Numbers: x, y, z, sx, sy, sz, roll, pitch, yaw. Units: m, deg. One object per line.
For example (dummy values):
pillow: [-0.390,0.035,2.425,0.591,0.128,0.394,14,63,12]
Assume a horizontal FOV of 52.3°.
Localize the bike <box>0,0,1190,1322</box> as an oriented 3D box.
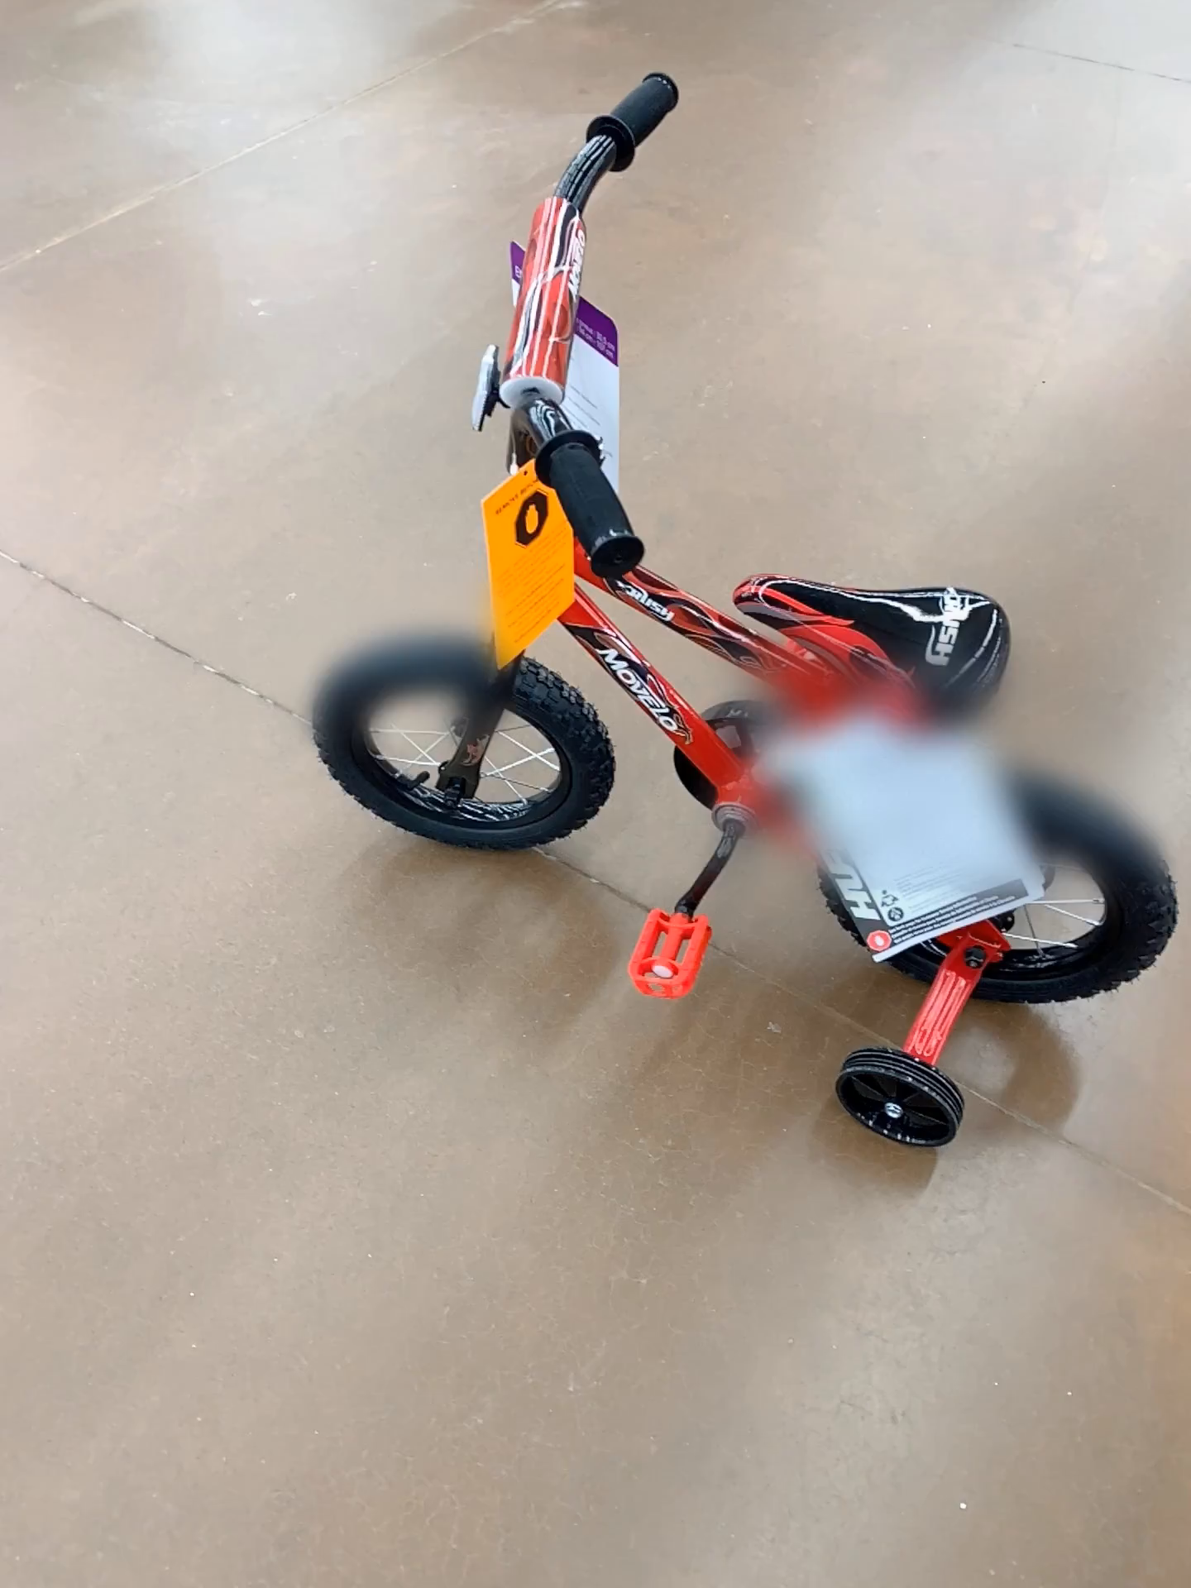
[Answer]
bike: [0.099,-0.082,0.821,0.704,0.626,0.459,15,50,8]
